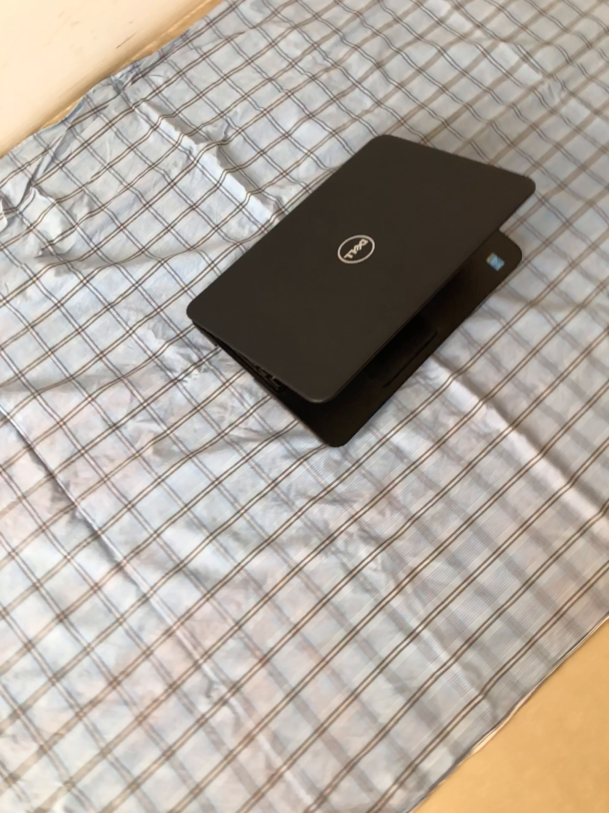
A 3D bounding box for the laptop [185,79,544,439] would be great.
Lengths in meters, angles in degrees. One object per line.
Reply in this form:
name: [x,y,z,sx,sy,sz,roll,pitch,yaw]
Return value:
laptop: [0.072,-0.176,0.778,0.223,0.099,0.351,42,75,10]
